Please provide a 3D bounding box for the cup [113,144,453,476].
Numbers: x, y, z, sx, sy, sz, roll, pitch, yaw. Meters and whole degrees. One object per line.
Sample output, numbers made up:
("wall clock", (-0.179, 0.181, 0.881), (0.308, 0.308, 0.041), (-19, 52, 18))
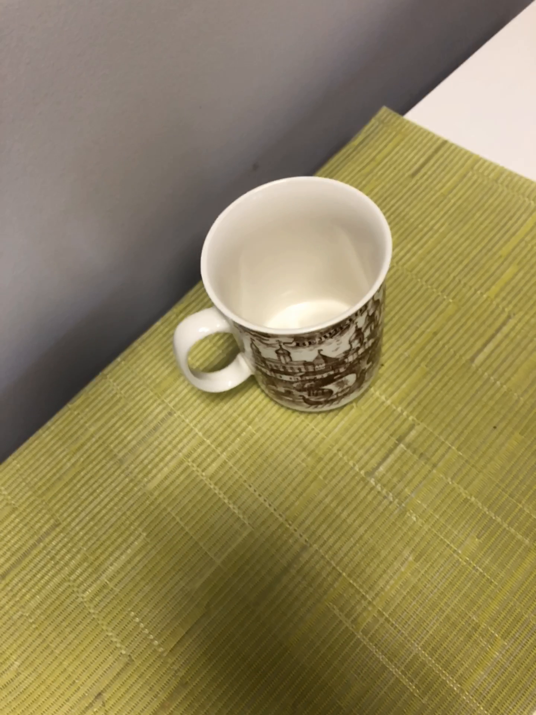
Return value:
("cup", (0.008, -0.020, 0.303), (0.124, 0.092, 0.094), (-23, 61, -2))
